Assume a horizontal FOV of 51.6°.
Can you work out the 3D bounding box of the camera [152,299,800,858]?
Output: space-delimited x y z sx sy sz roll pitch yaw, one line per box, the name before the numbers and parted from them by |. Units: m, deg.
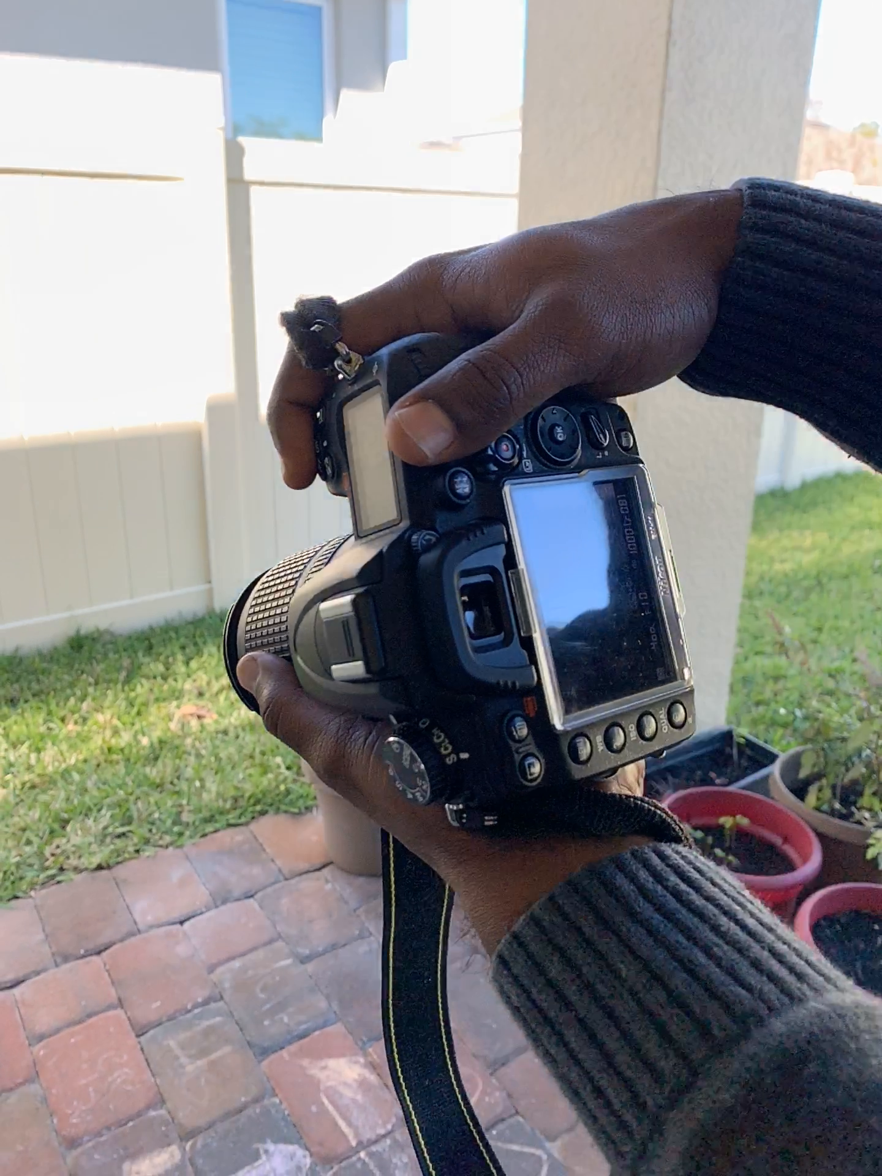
camera | -0.004 -0.004 0.273 0.090 0.110 0.170 -13 3 -35
